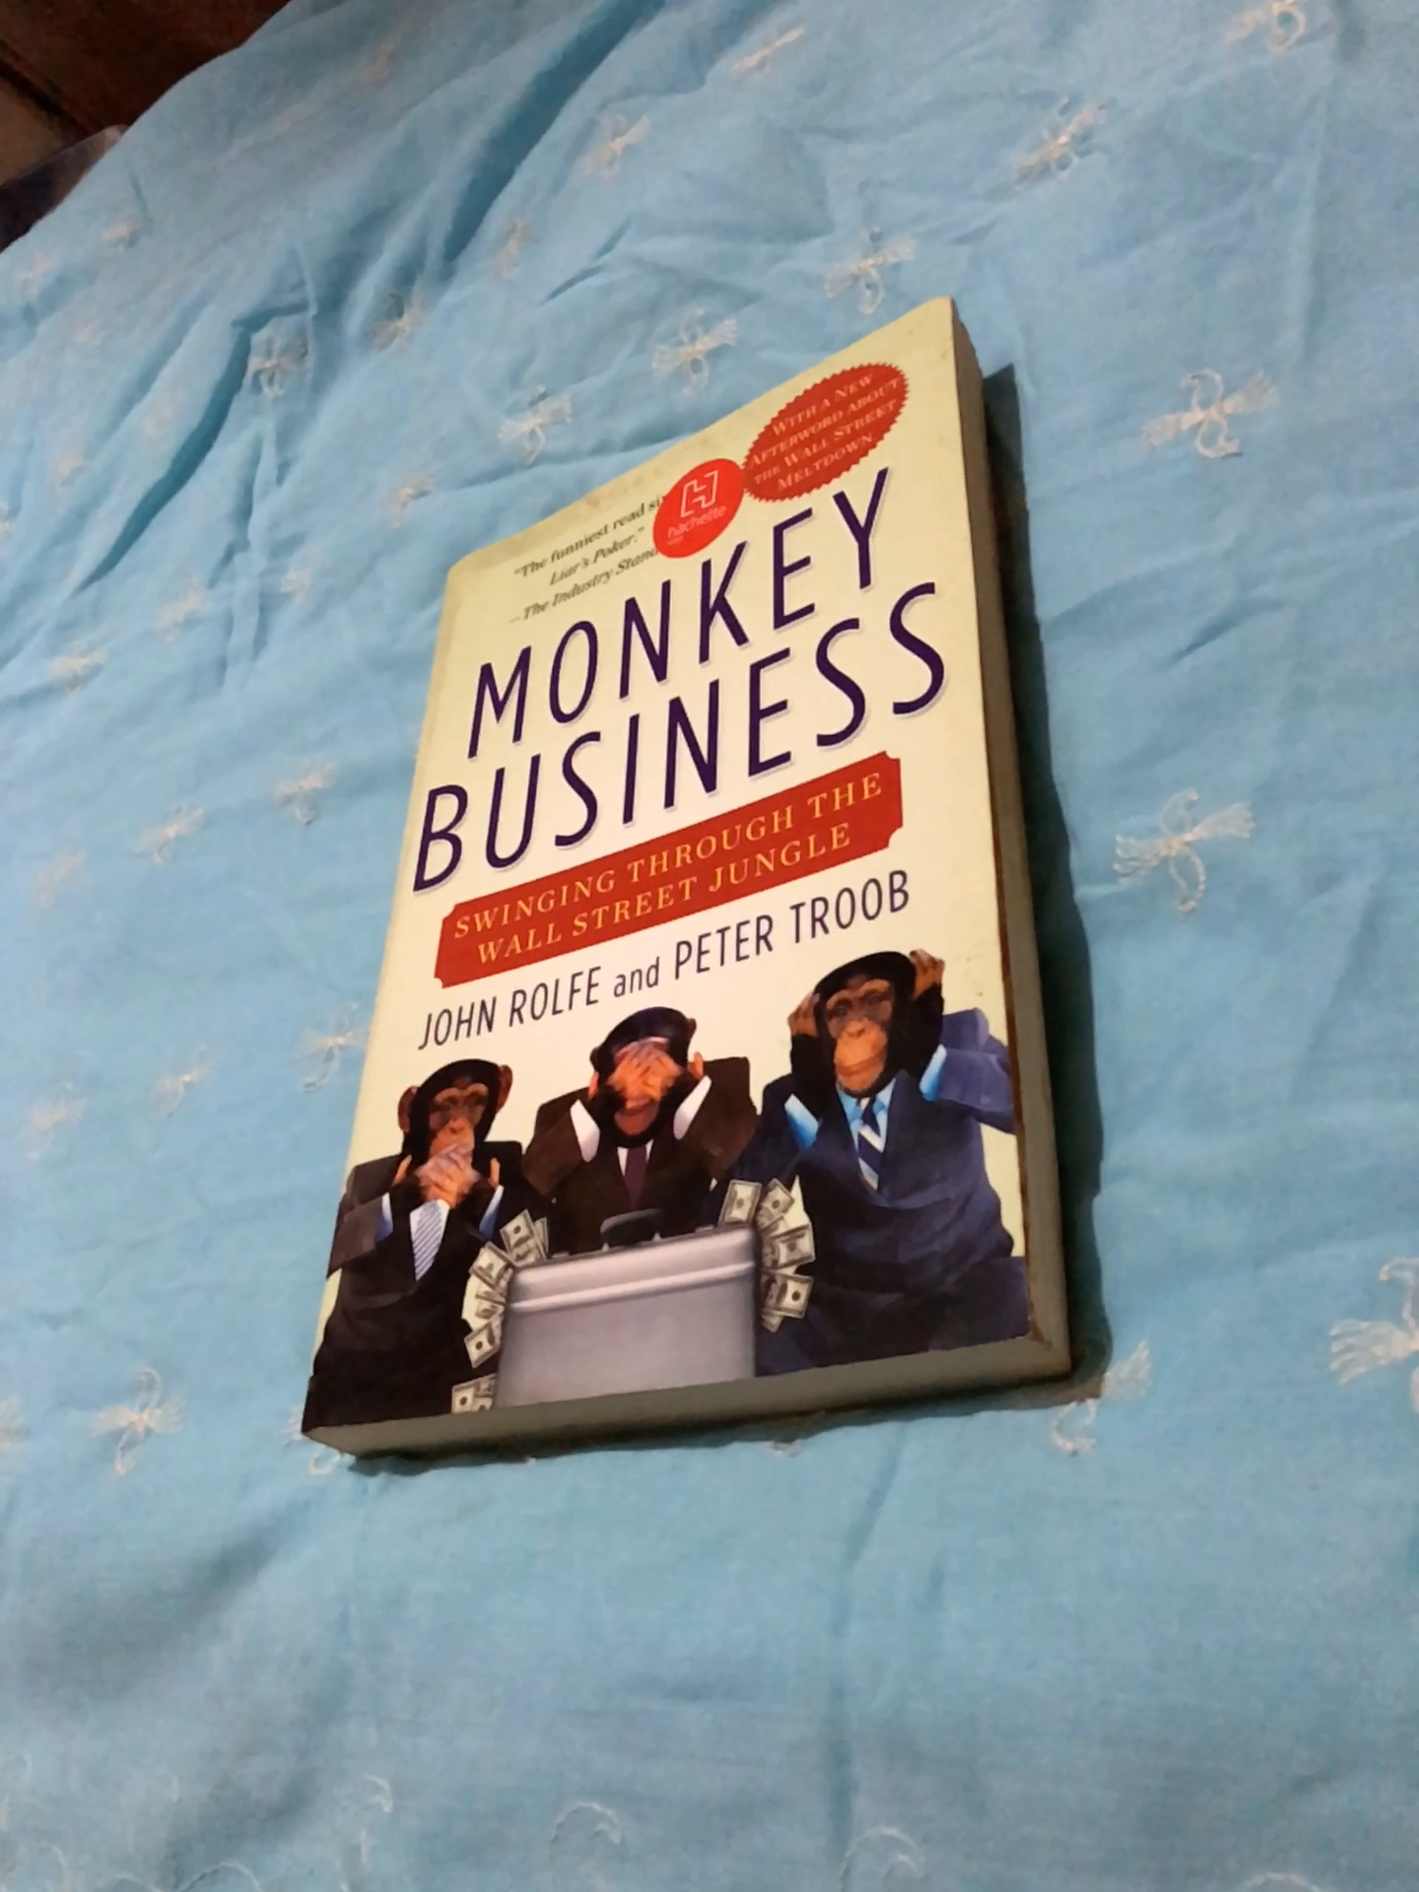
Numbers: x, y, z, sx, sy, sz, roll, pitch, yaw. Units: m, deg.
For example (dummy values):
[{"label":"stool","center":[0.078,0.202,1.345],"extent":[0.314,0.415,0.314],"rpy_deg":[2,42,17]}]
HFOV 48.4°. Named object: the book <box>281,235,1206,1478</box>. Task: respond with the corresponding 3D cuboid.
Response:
[{"label":"book","center":[-0.001,-0.022,0.343],"extent":[0.171,0.040,0.240],"rpy_deg":[-19,54,29]}]
